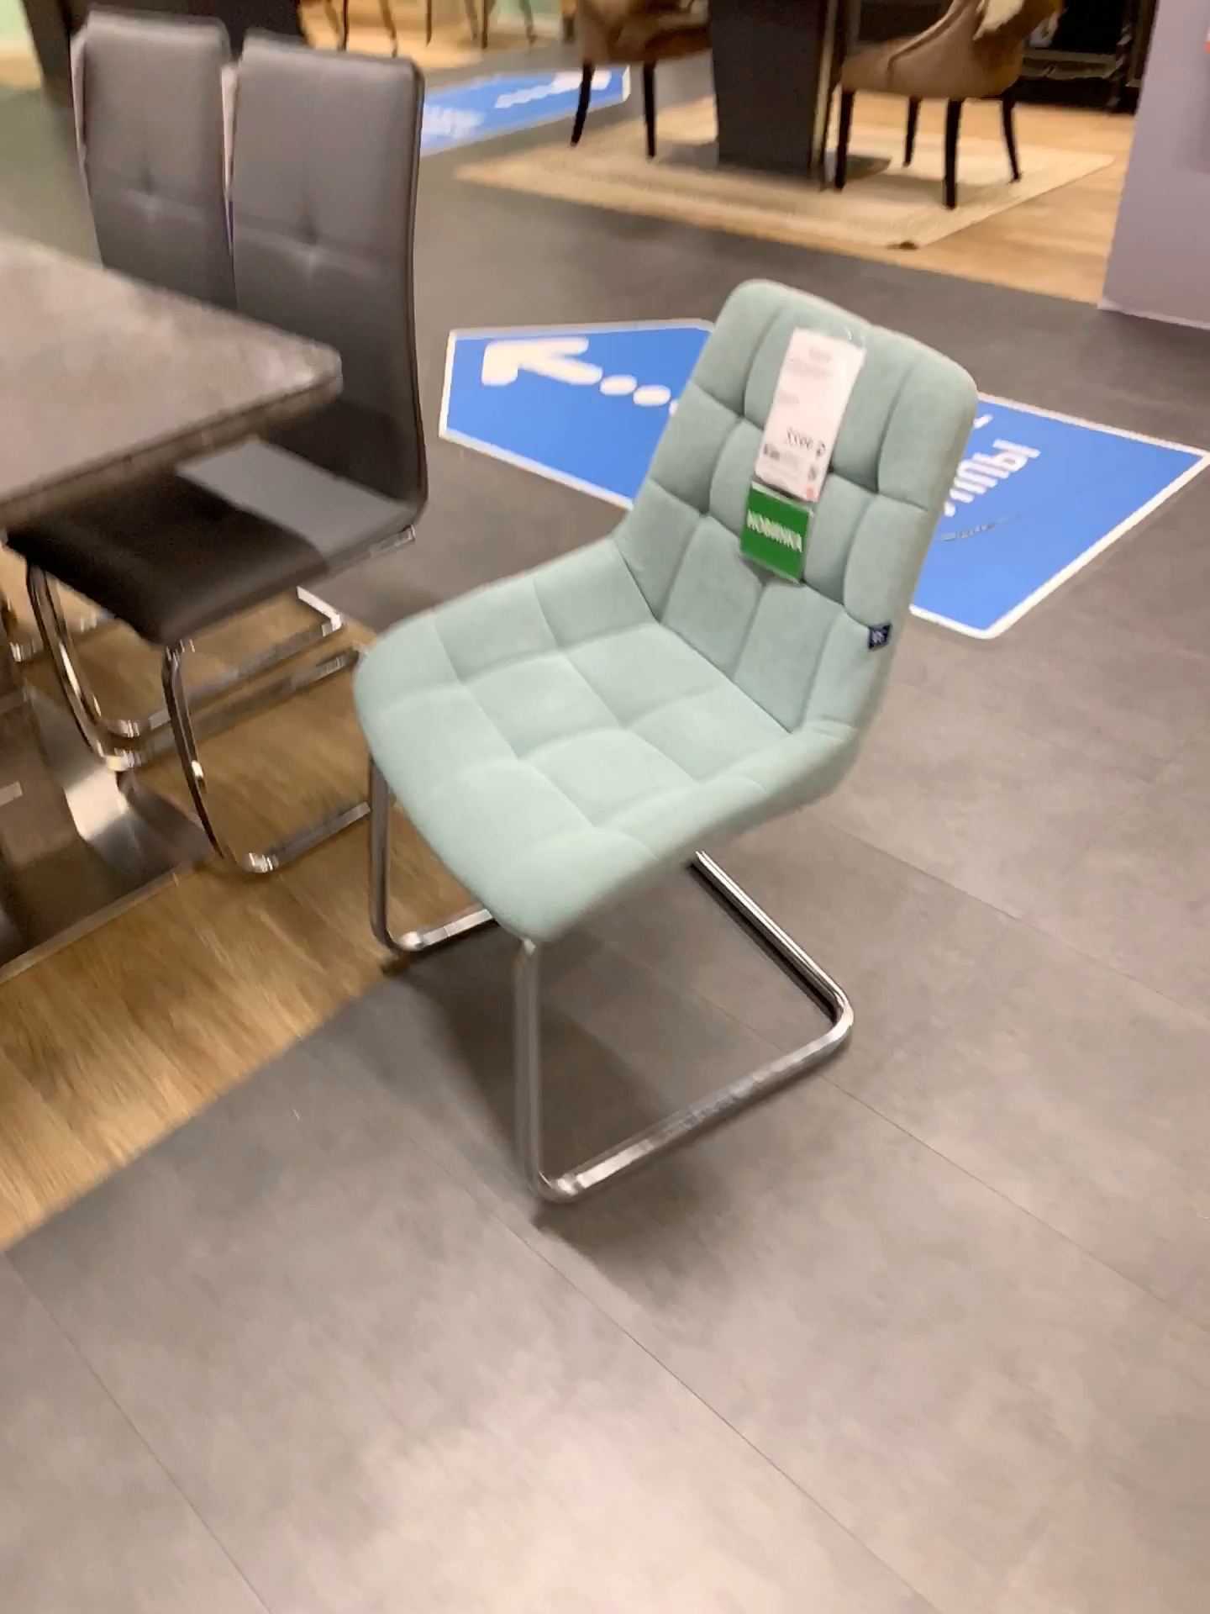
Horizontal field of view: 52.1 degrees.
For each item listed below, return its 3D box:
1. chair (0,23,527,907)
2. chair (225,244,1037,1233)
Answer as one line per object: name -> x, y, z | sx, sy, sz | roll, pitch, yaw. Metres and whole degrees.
chair -> -0.540, -0.486, 1.789 | 0.572, 1.004, 0.511 | -32, 47, -30
chair -> 0.022, -0.082, 1.382 | 0.551, 0.825, 0.512 | -23, 43, -22
